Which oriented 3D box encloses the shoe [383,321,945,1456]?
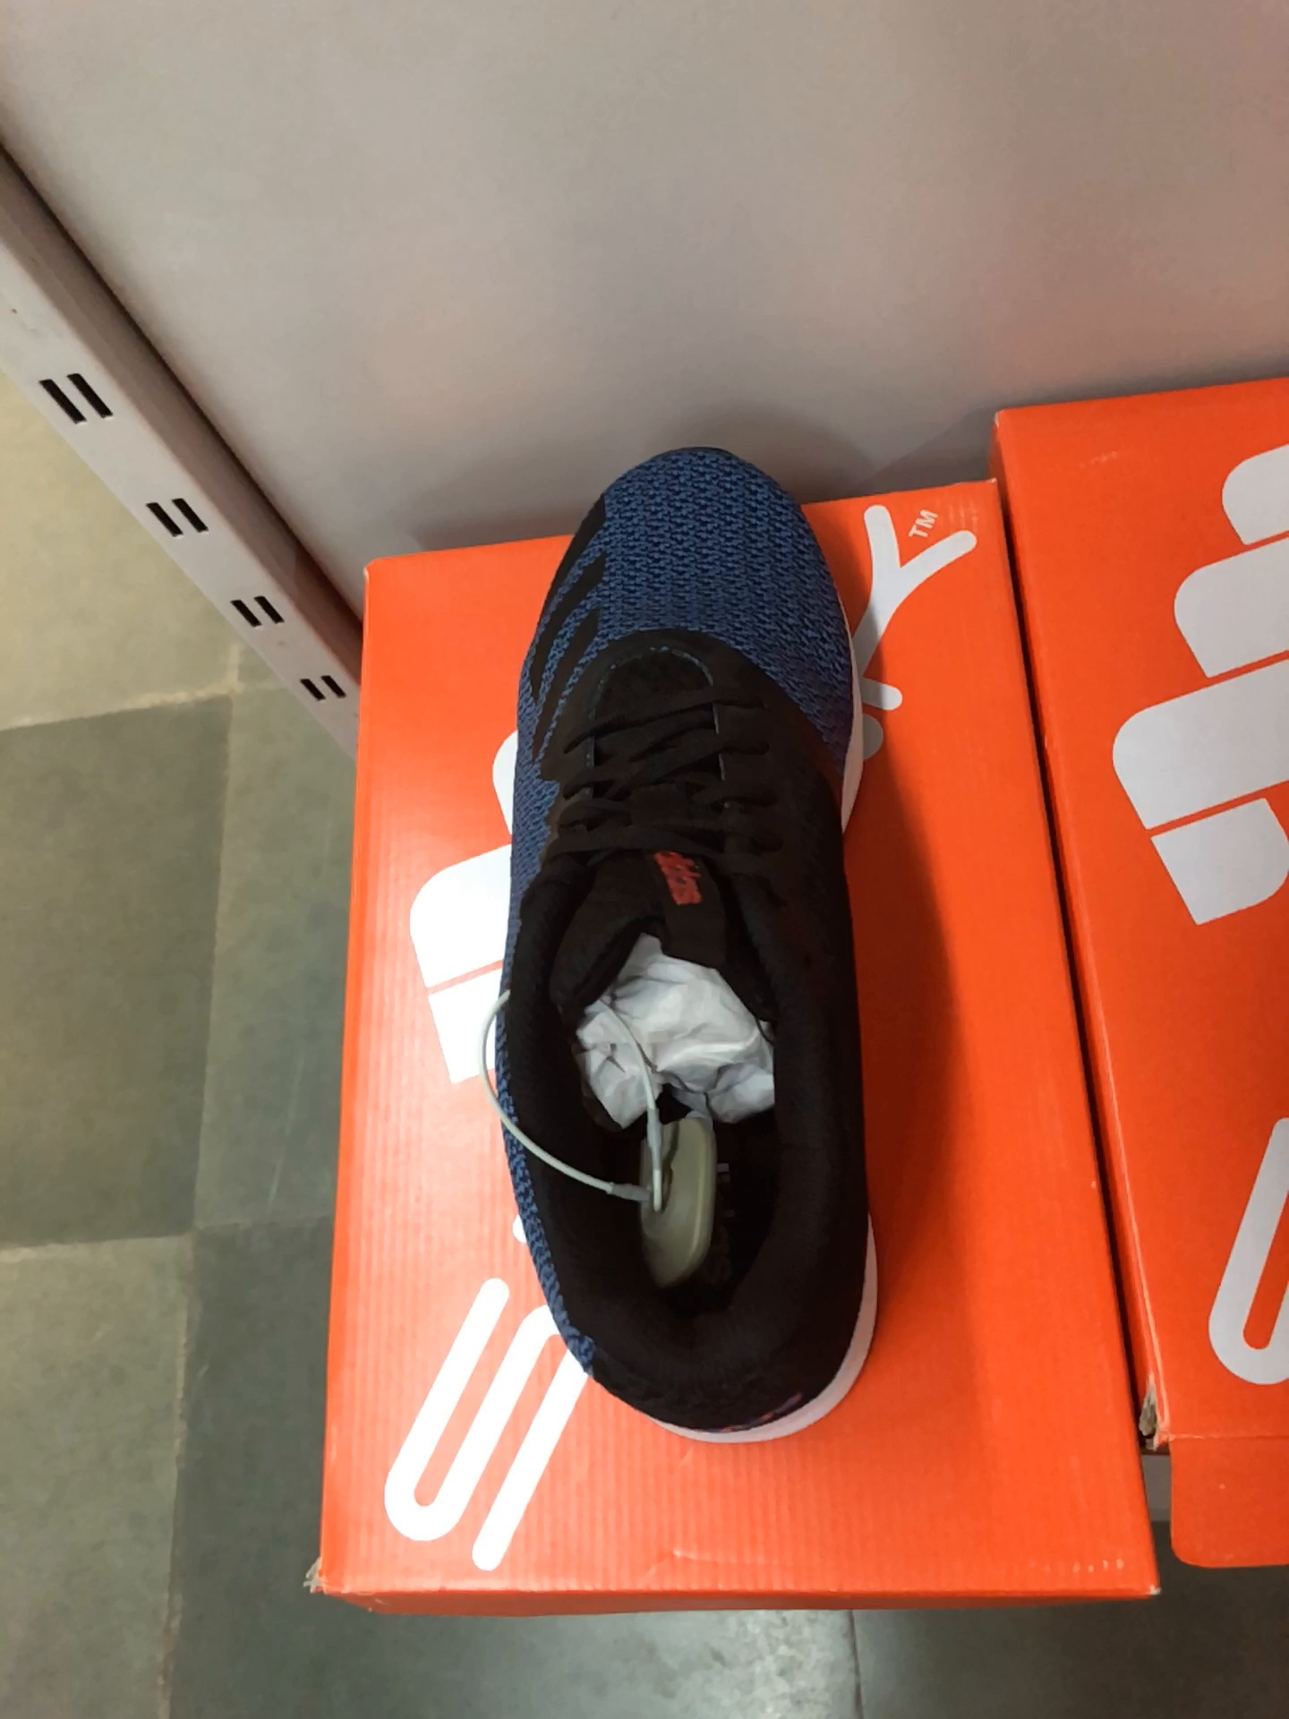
[{"bbox_3d":[0.009,0.015,0.374,0.105,0.136,0.254,-7,67,10],"label":"shoe"}]
